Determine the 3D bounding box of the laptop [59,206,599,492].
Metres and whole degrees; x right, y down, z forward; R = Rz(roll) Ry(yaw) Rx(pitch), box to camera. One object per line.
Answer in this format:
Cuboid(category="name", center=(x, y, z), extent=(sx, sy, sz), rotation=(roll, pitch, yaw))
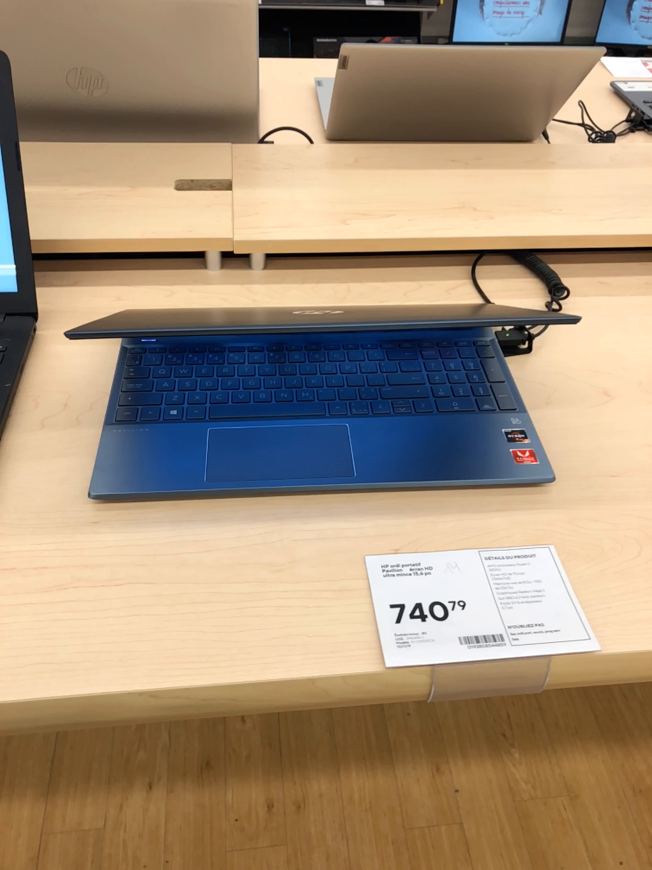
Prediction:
Cuboid(category="laptop", center=(-0.003, -0.079, 0.578), extent=(0.349, 0.119, 0.210), rotation=(-2, 44, -5))
